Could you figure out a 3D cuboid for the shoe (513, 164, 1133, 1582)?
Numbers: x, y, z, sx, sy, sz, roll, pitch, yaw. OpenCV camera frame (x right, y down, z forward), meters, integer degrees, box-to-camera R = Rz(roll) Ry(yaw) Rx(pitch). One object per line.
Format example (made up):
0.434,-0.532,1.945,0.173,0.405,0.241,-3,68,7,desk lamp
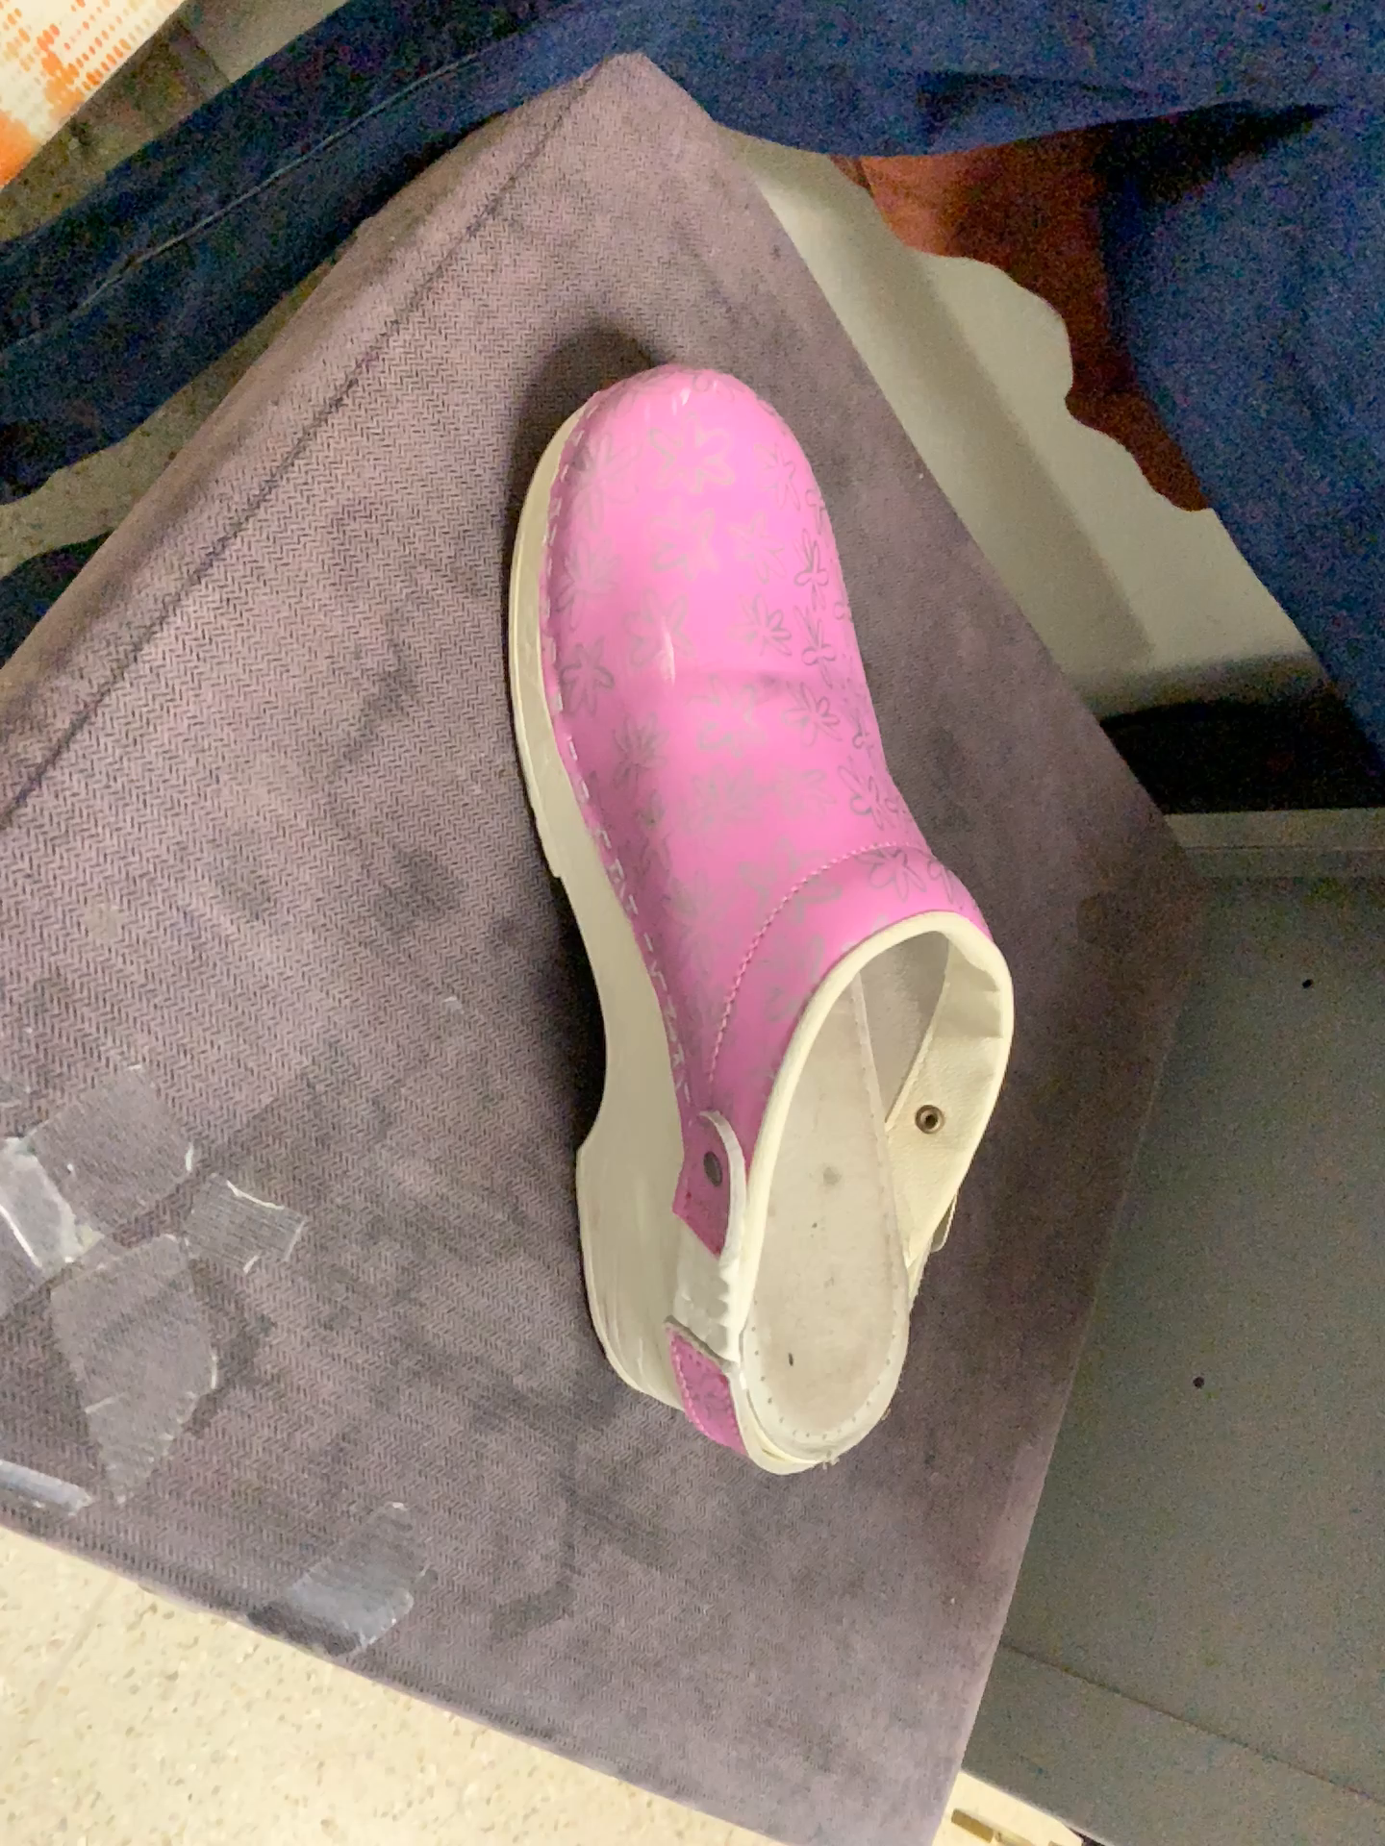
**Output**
0.028,-0.008,0.294,0.101,0.079,0.230,0,90,-45,shoe
